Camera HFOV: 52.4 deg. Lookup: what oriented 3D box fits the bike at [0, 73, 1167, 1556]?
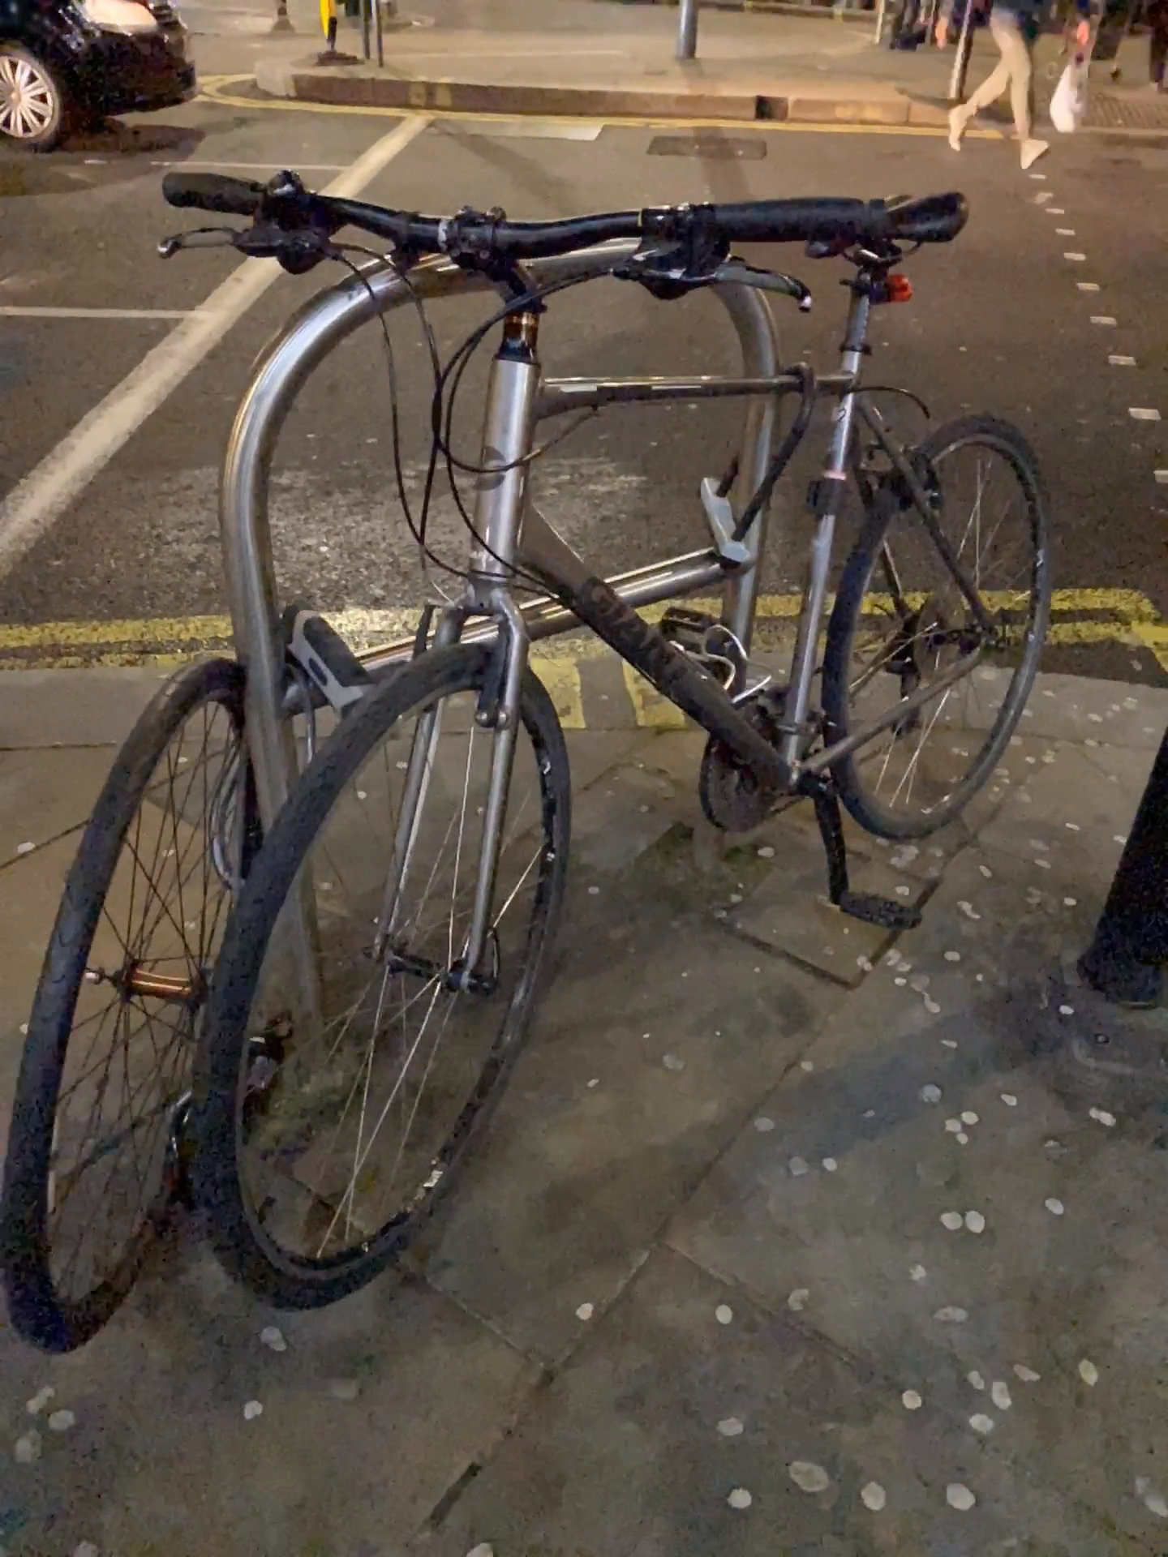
[{"bbox_3d":[0.131,-0.234,1.571,0.709,1.124,1.827,26,41,31],"label":"bike"}]
